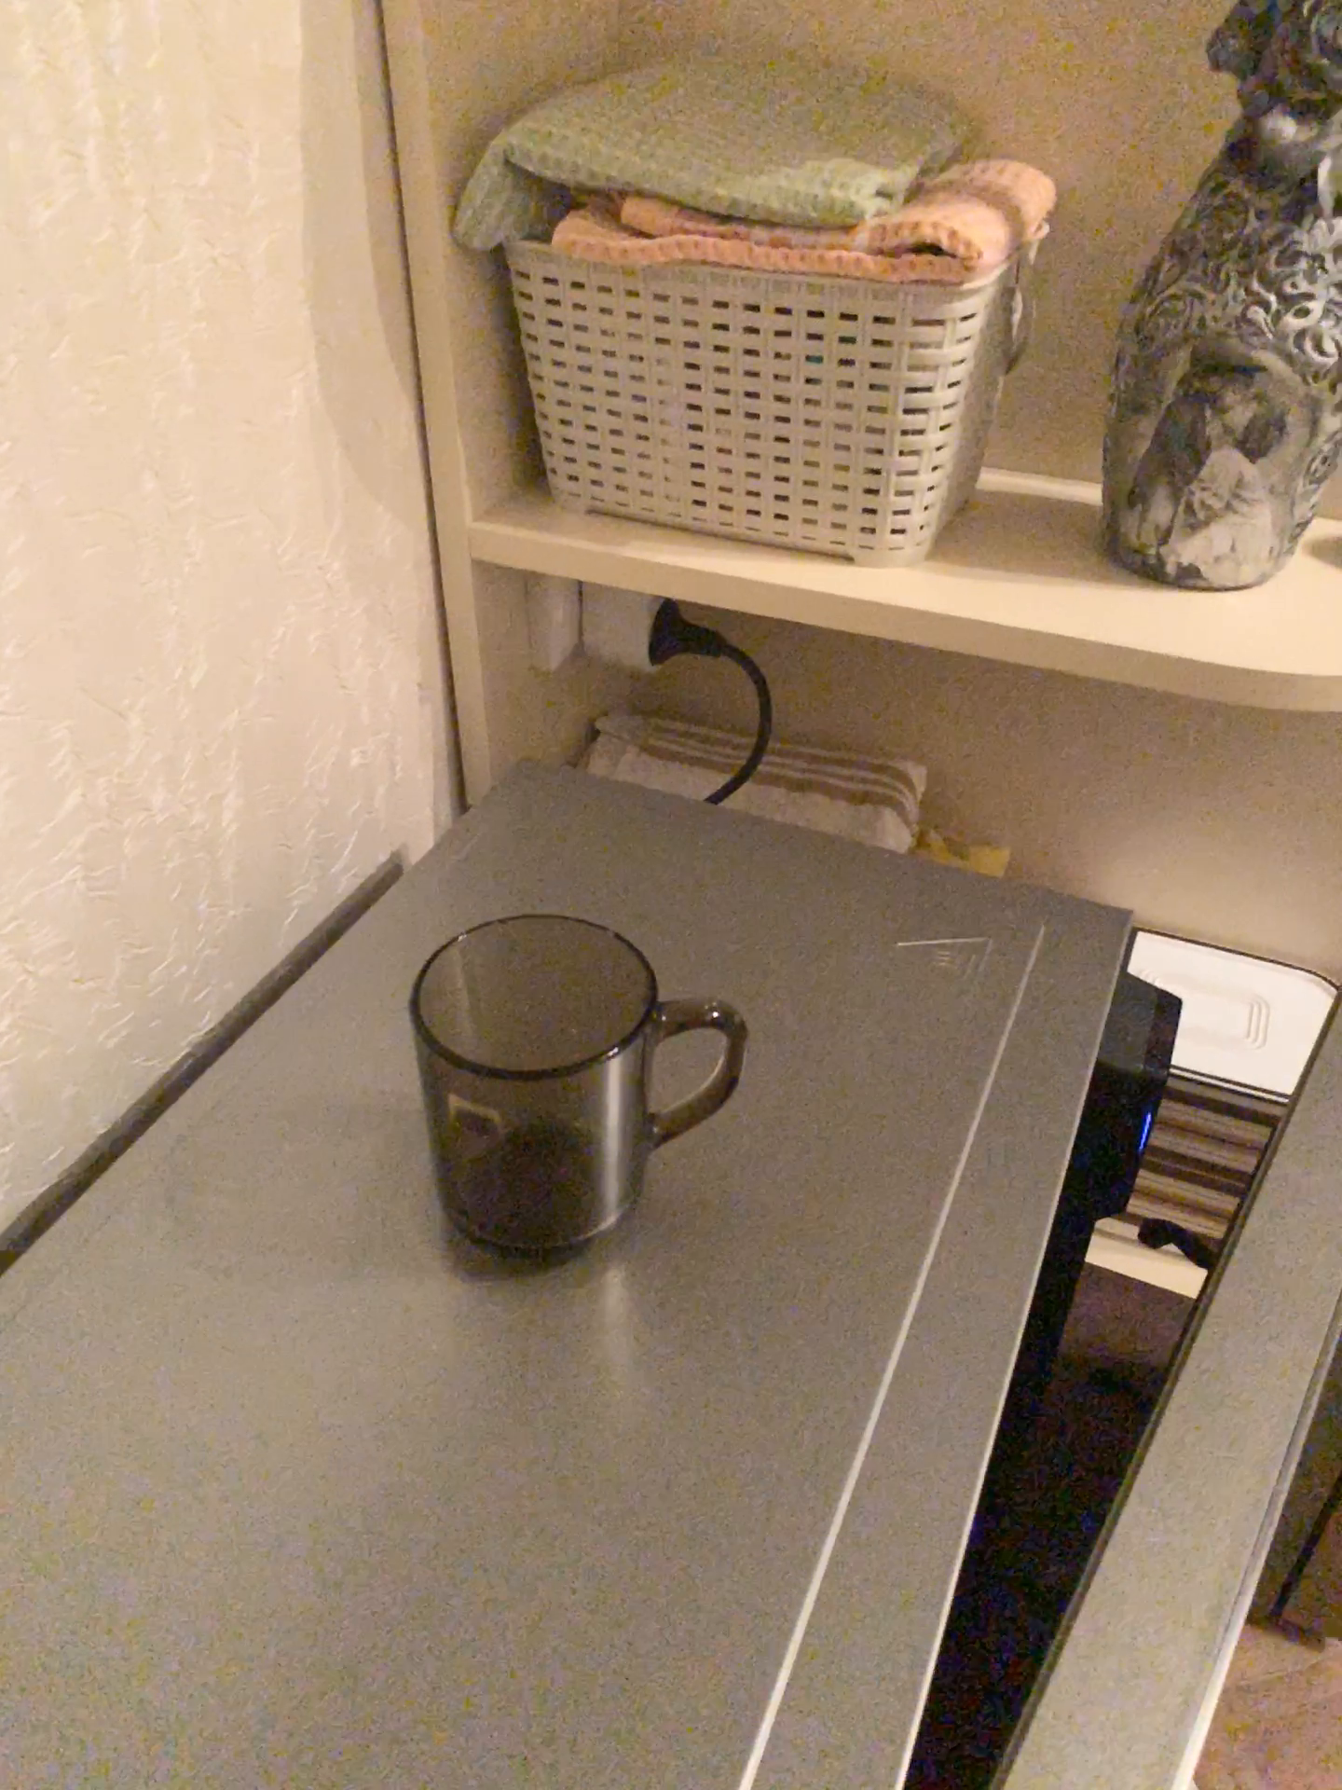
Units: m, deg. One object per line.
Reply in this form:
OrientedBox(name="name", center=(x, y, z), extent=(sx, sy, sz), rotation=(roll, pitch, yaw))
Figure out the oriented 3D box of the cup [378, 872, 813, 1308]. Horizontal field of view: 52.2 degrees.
OrientedBox(name="cup", center=(-0.025, 0.057, 0.419), extent=(0.110, 0.079, 0.081), rotation=(-9, 38, -13))
